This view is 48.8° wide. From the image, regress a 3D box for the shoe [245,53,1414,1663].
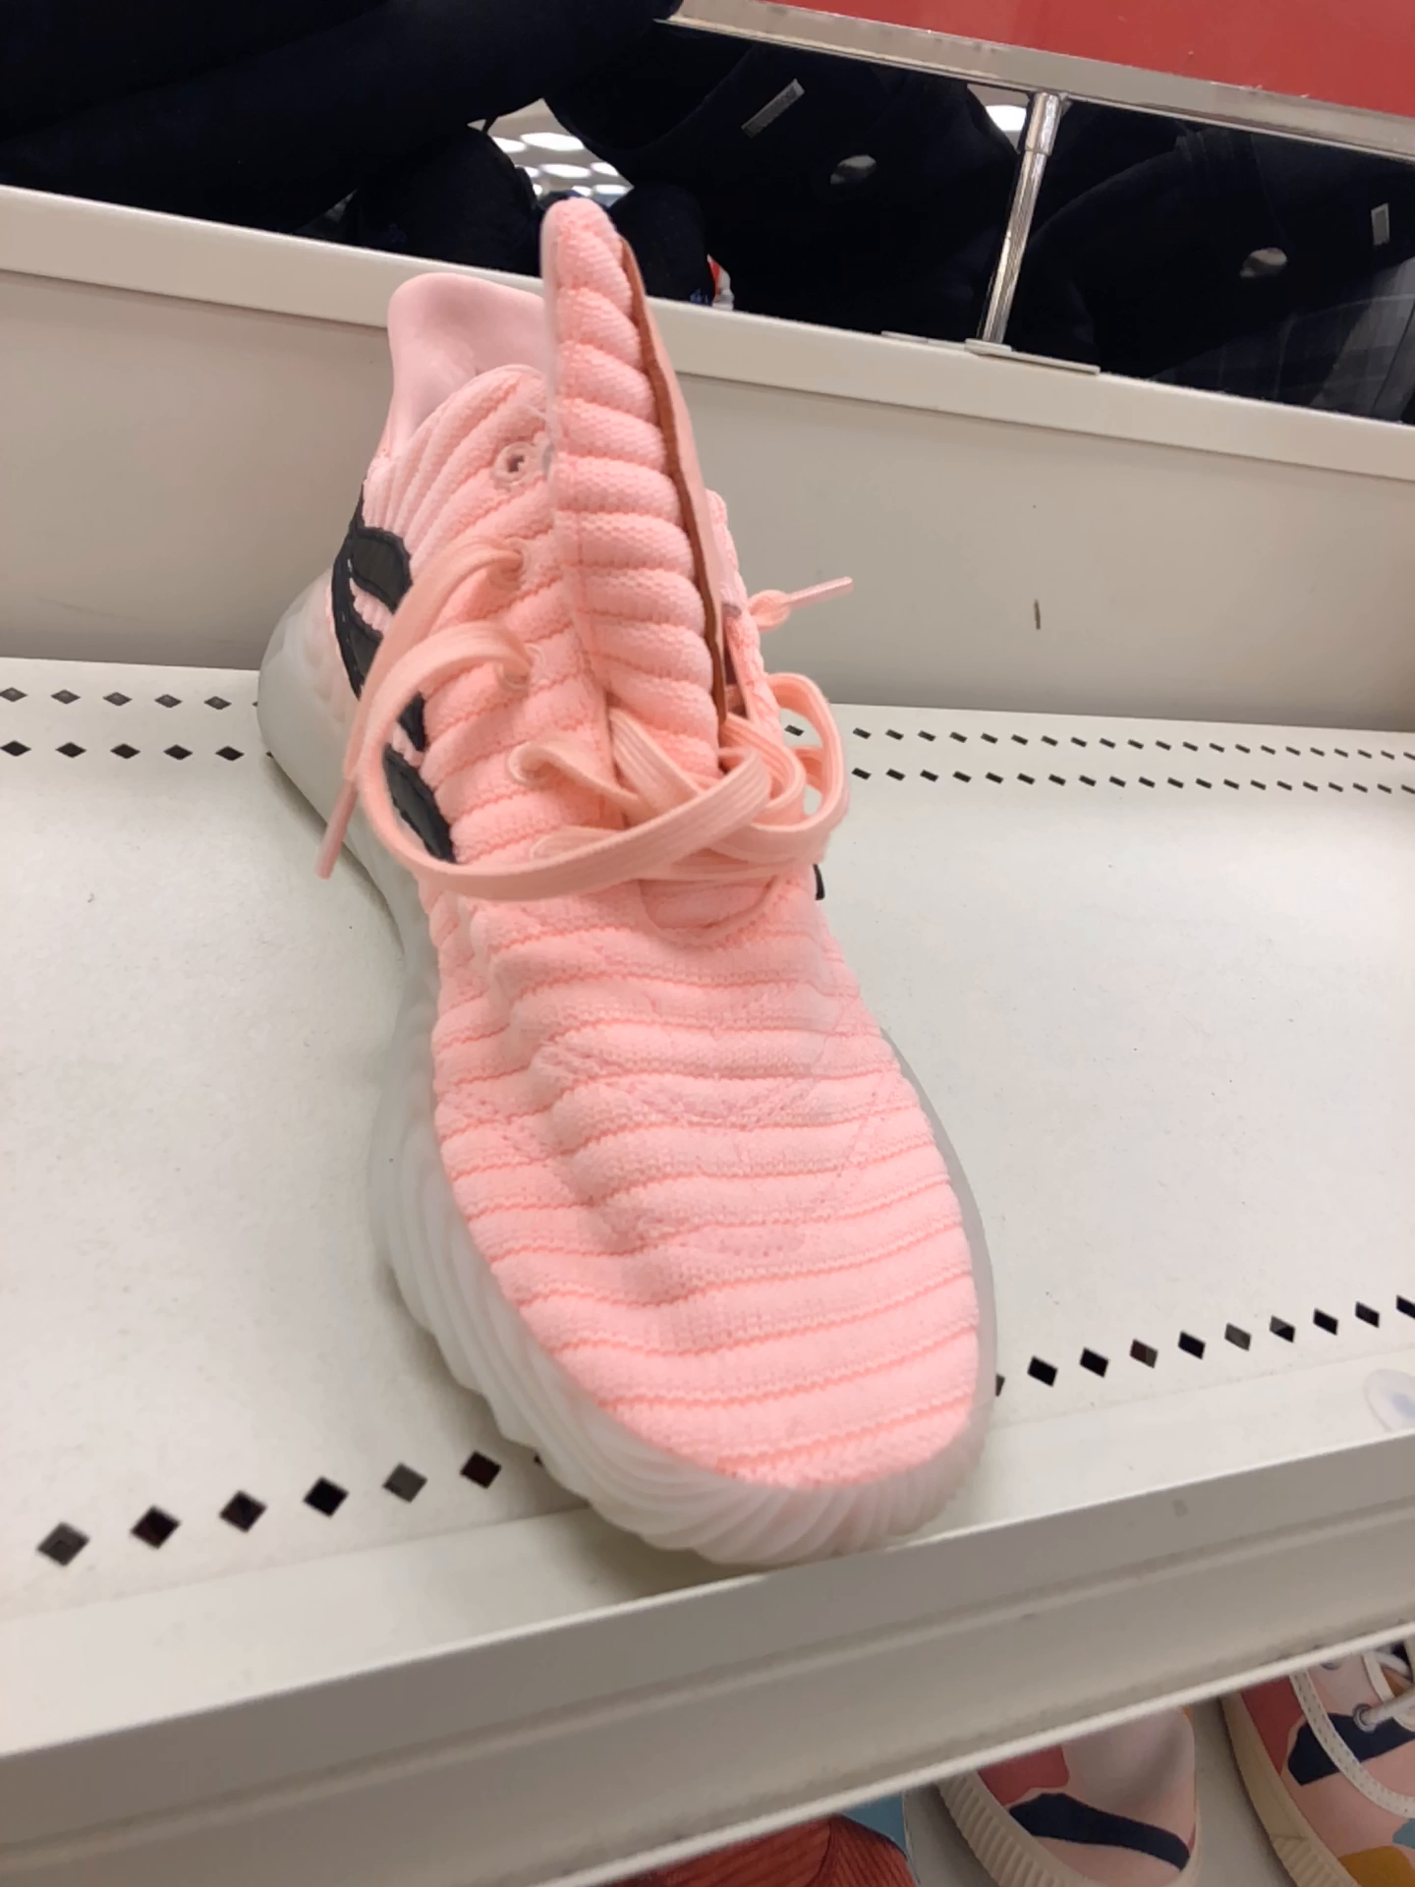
[{"bbox_3d":[-0.014,-0.058,0.327,0.120,0.169,0.322,0,34,-23],"label":"shoe"}]
